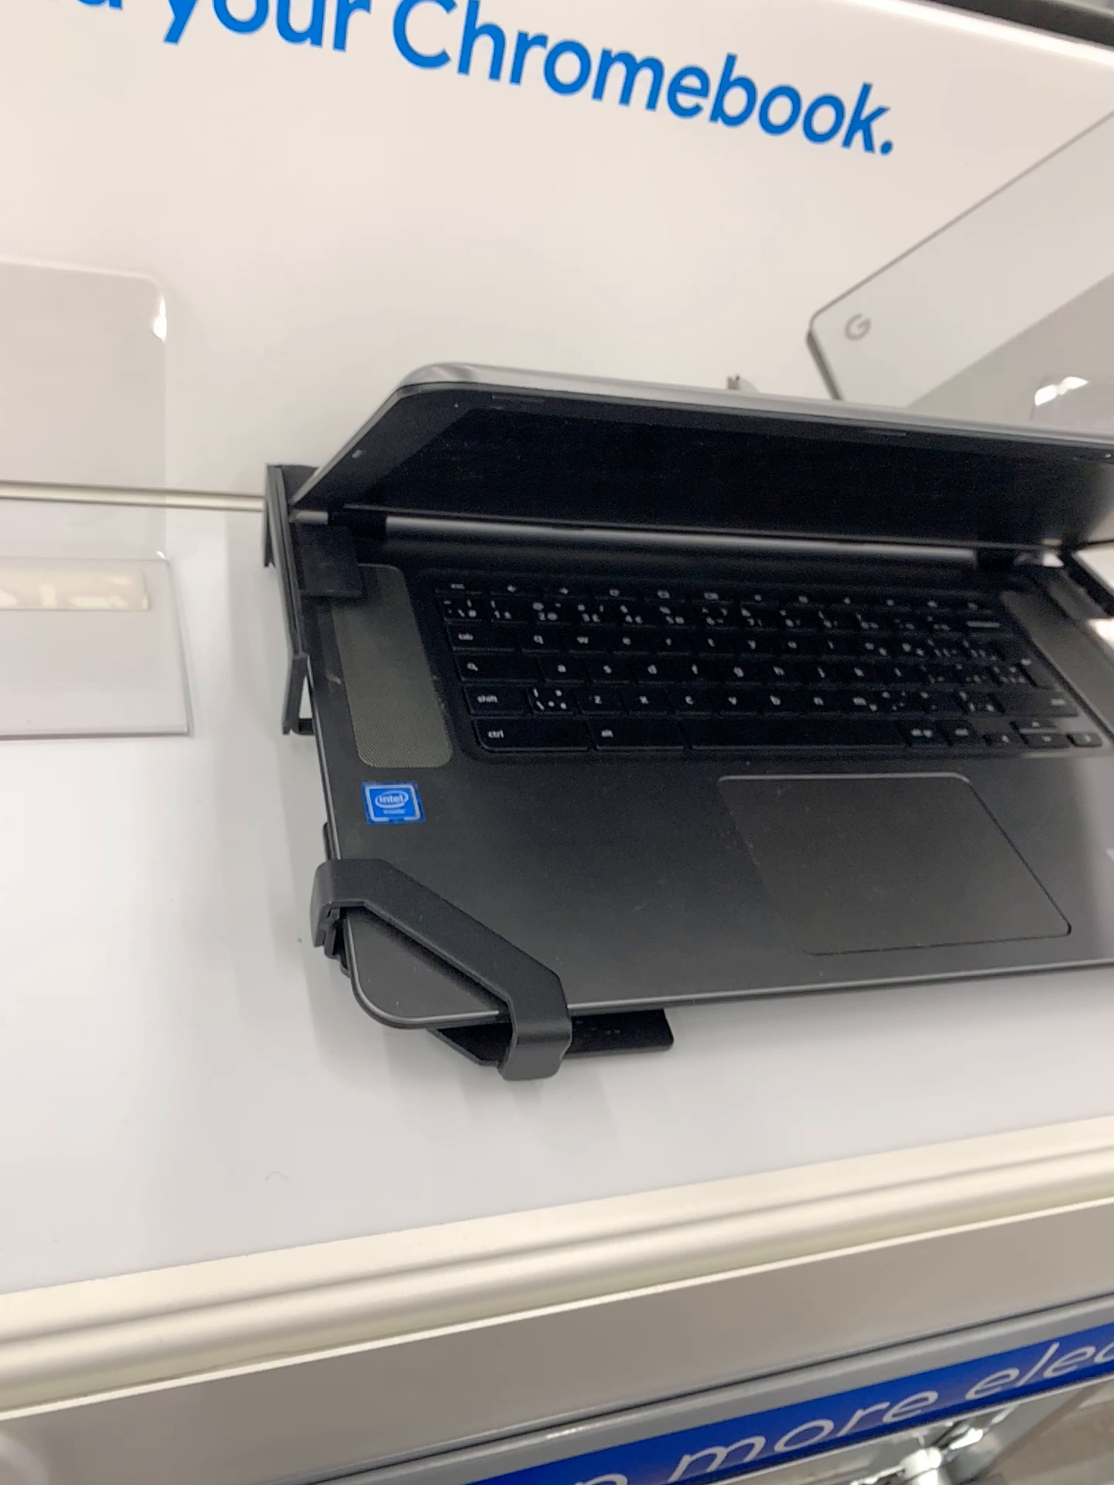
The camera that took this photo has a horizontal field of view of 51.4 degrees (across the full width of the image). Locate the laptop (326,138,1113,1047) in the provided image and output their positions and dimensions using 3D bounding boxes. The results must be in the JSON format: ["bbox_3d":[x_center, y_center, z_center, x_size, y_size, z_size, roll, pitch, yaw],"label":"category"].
[{"bbox_3d":[0.105,-0.048,0.319,0.303,0.119,0.198,0,42,-19],"label":"laptop"}]
